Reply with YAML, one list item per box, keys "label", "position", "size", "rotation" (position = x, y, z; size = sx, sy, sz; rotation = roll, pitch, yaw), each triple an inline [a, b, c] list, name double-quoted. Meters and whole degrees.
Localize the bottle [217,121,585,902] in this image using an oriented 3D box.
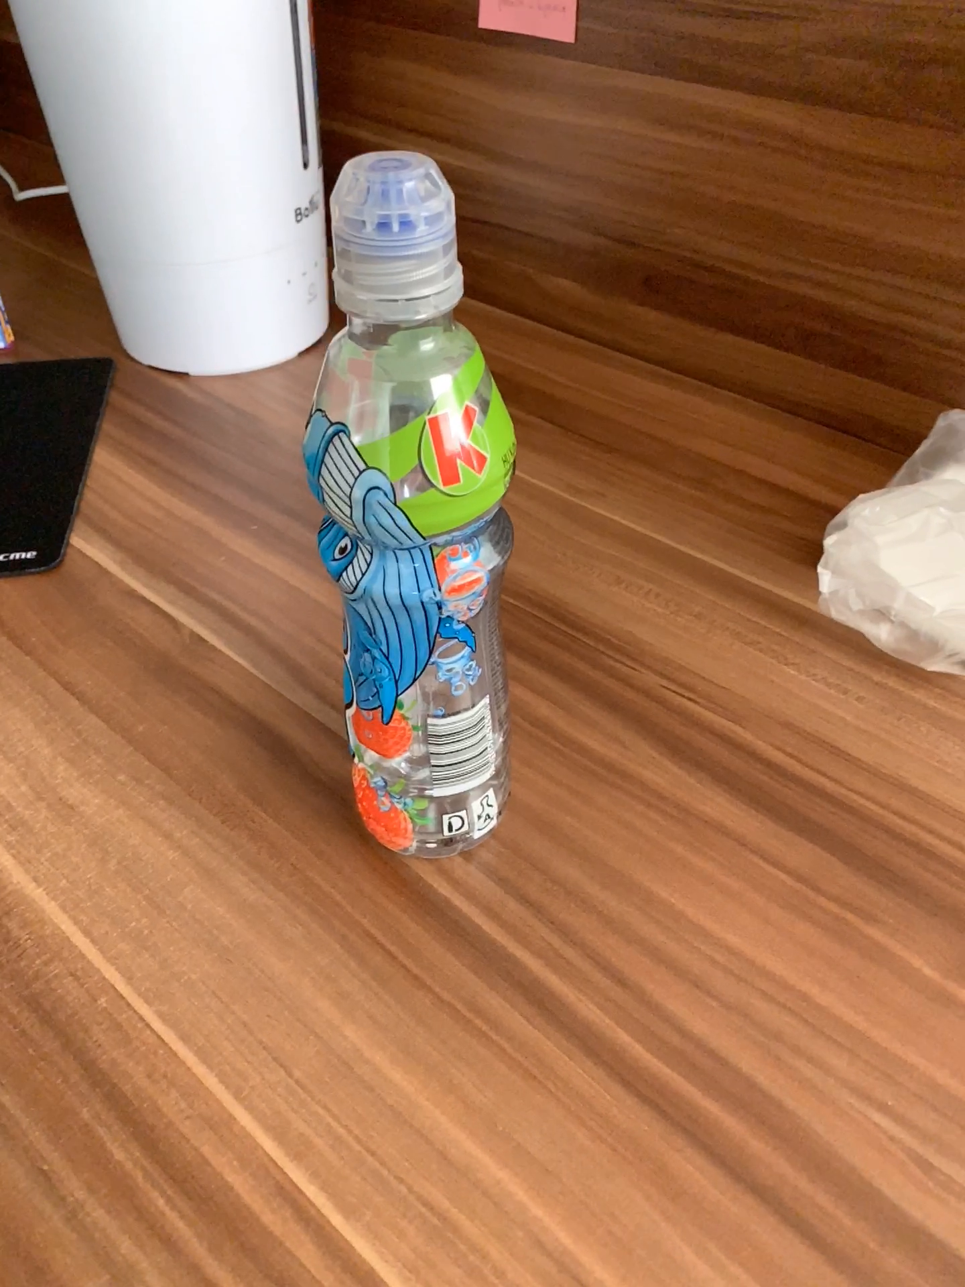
- label: "bottle"
  position: [-0.022, -0.025, 0.320]
  size: [0.070, 0.239, 0.070]
  rotation: [0, 42, 0]
